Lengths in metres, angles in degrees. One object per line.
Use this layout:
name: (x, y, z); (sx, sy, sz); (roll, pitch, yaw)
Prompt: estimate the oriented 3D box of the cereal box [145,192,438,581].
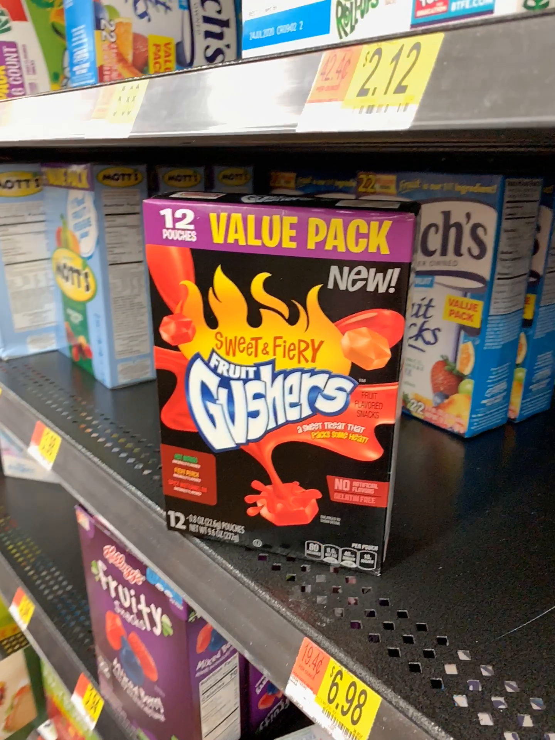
cereal box: (0.008, 0.010, 0.352); (0.150, 0.219, 0.050); (7, 24, 16)
